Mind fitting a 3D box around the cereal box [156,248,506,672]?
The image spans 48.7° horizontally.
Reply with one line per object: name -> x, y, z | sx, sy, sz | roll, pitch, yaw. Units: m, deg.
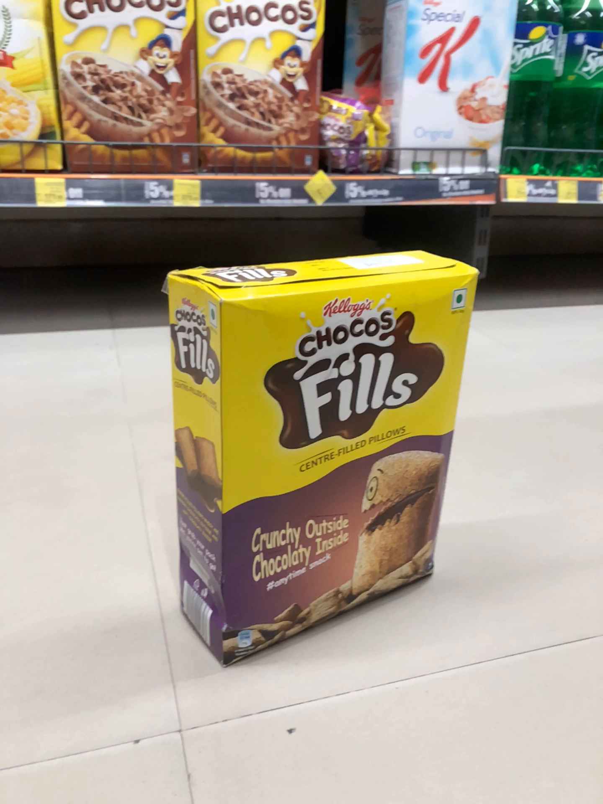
cereal box -> 0.018, 0.025, 0.426 | 0.191, 0.219, 0.080 | -12, 26, -31
